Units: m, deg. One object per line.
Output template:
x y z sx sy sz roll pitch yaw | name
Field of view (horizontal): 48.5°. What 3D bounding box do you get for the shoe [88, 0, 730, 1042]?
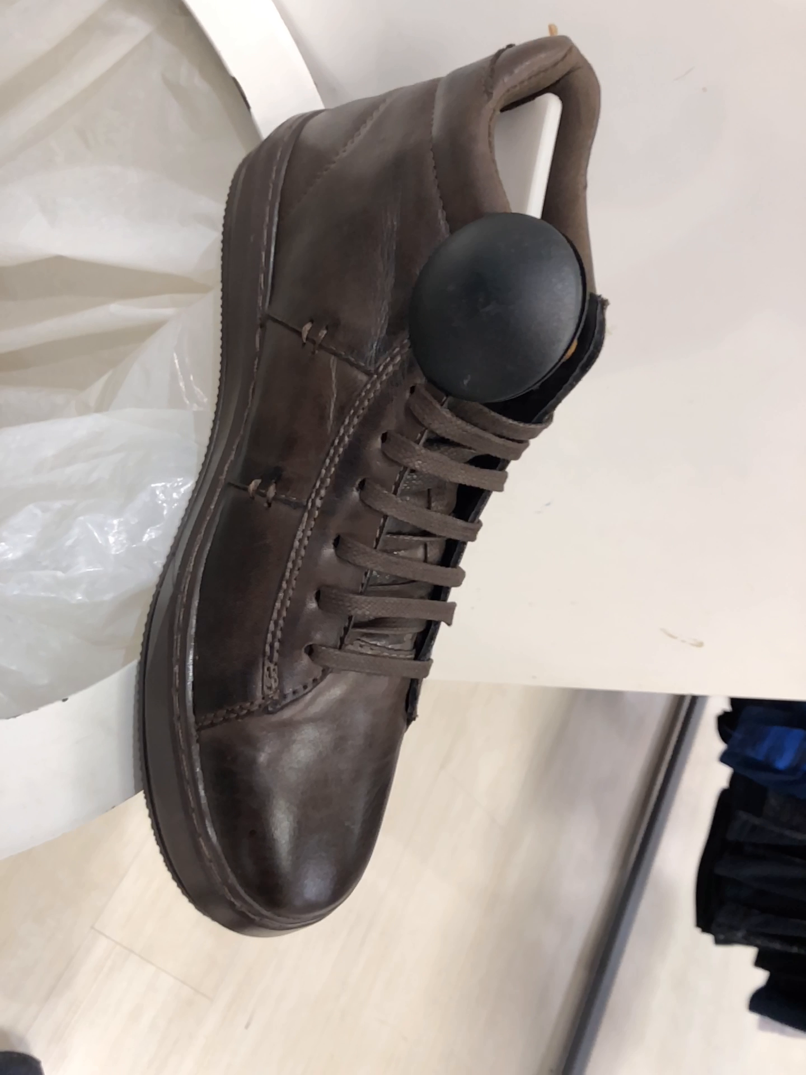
0.010 -0.018 0.289 0.121 0.139 0.270 17 74 -46 | shoe
